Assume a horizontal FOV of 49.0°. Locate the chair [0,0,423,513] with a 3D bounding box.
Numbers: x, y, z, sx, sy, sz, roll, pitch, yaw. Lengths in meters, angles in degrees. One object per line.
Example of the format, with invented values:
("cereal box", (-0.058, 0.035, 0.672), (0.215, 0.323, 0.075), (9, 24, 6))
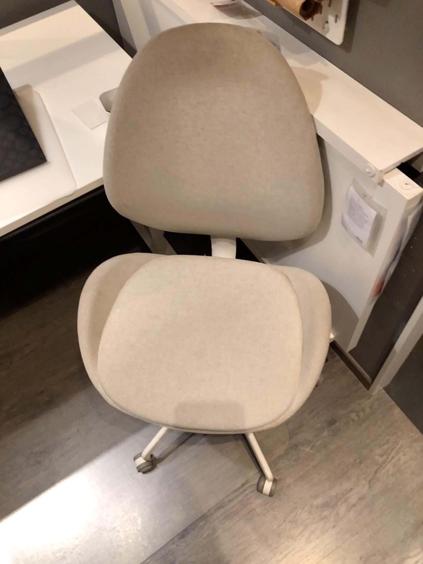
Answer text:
("chair", (-0.027, 0.035, 1.068), (0.680, 0.965, 0.683), (7, 59, 10))
